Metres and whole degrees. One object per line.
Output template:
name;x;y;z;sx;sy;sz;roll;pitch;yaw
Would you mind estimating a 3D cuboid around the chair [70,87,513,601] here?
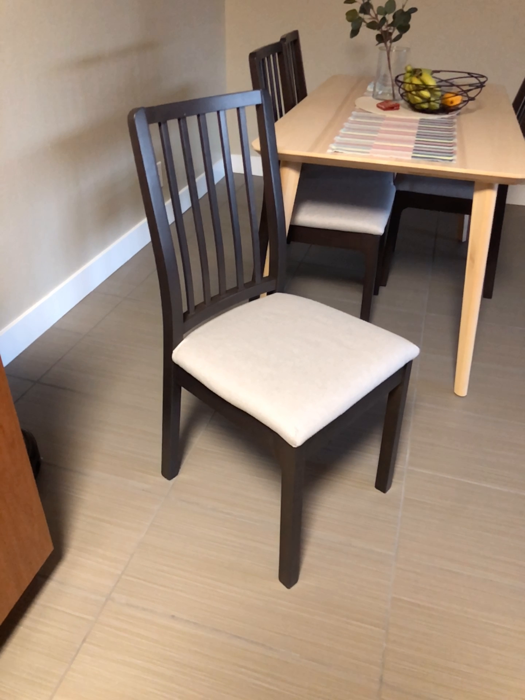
chair;0.052;-0.067;1.299;0.591;0.846;0.582;27;41;34
